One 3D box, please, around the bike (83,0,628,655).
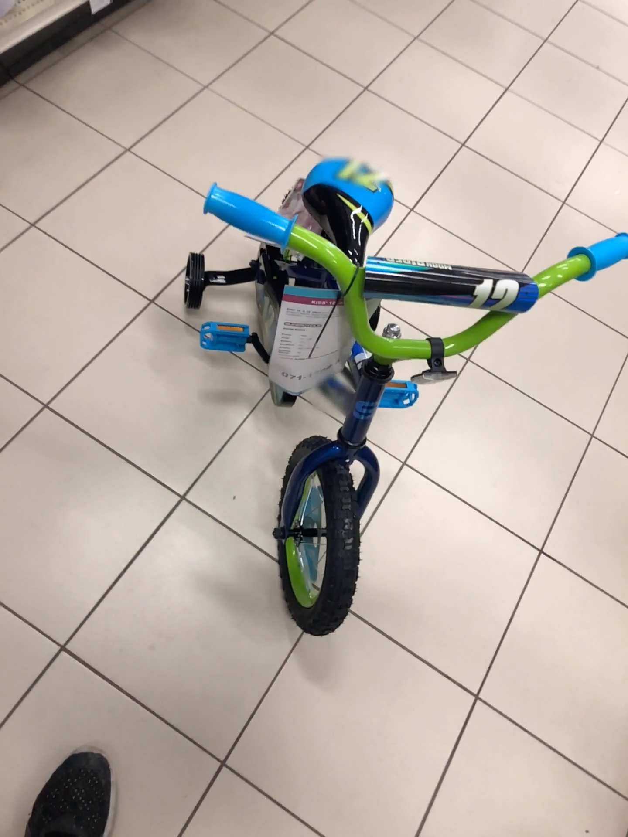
[{"bbox_3d":[0.026,-0.150,0.993,0.548,0.676,0.796,1,63,-12],"label":"bike"}]
